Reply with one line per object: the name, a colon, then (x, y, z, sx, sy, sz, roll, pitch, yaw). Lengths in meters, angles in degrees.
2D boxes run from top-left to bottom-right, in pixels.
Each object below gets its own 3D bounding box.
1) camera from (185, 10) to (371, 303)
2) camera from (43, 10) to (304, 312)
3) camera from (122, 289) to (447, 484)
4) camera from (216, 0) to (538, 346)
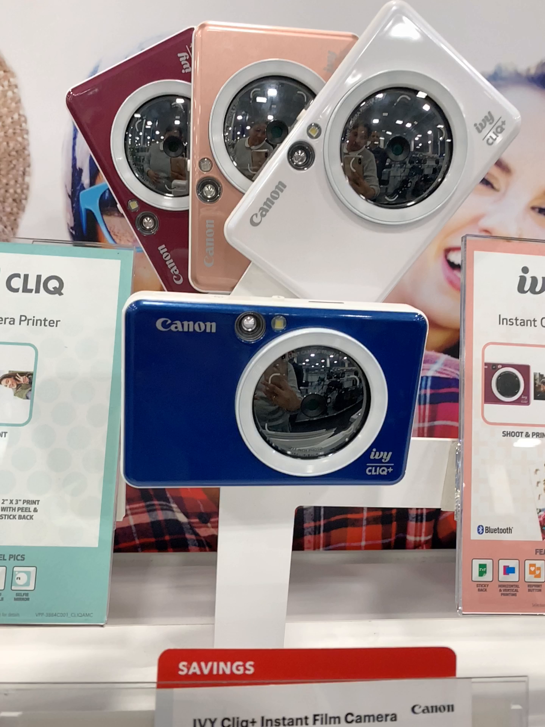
camera: (-0.001, -0.092, 0.268, 0.078, 0.120, 0.028, 1, 17, -9)
camera: (-0.044, -0.094, 0.276, 0.078, 0.110, 0.028, -25, 21, 0)
camera: (0.003, 0.009, 0.229, 0.120, 0.070, 0.028, 1, 18, -9)
camera: (0.042, -0.080, 0.250, 0.078, 0.120, 0.028, 36, 9, -13)
